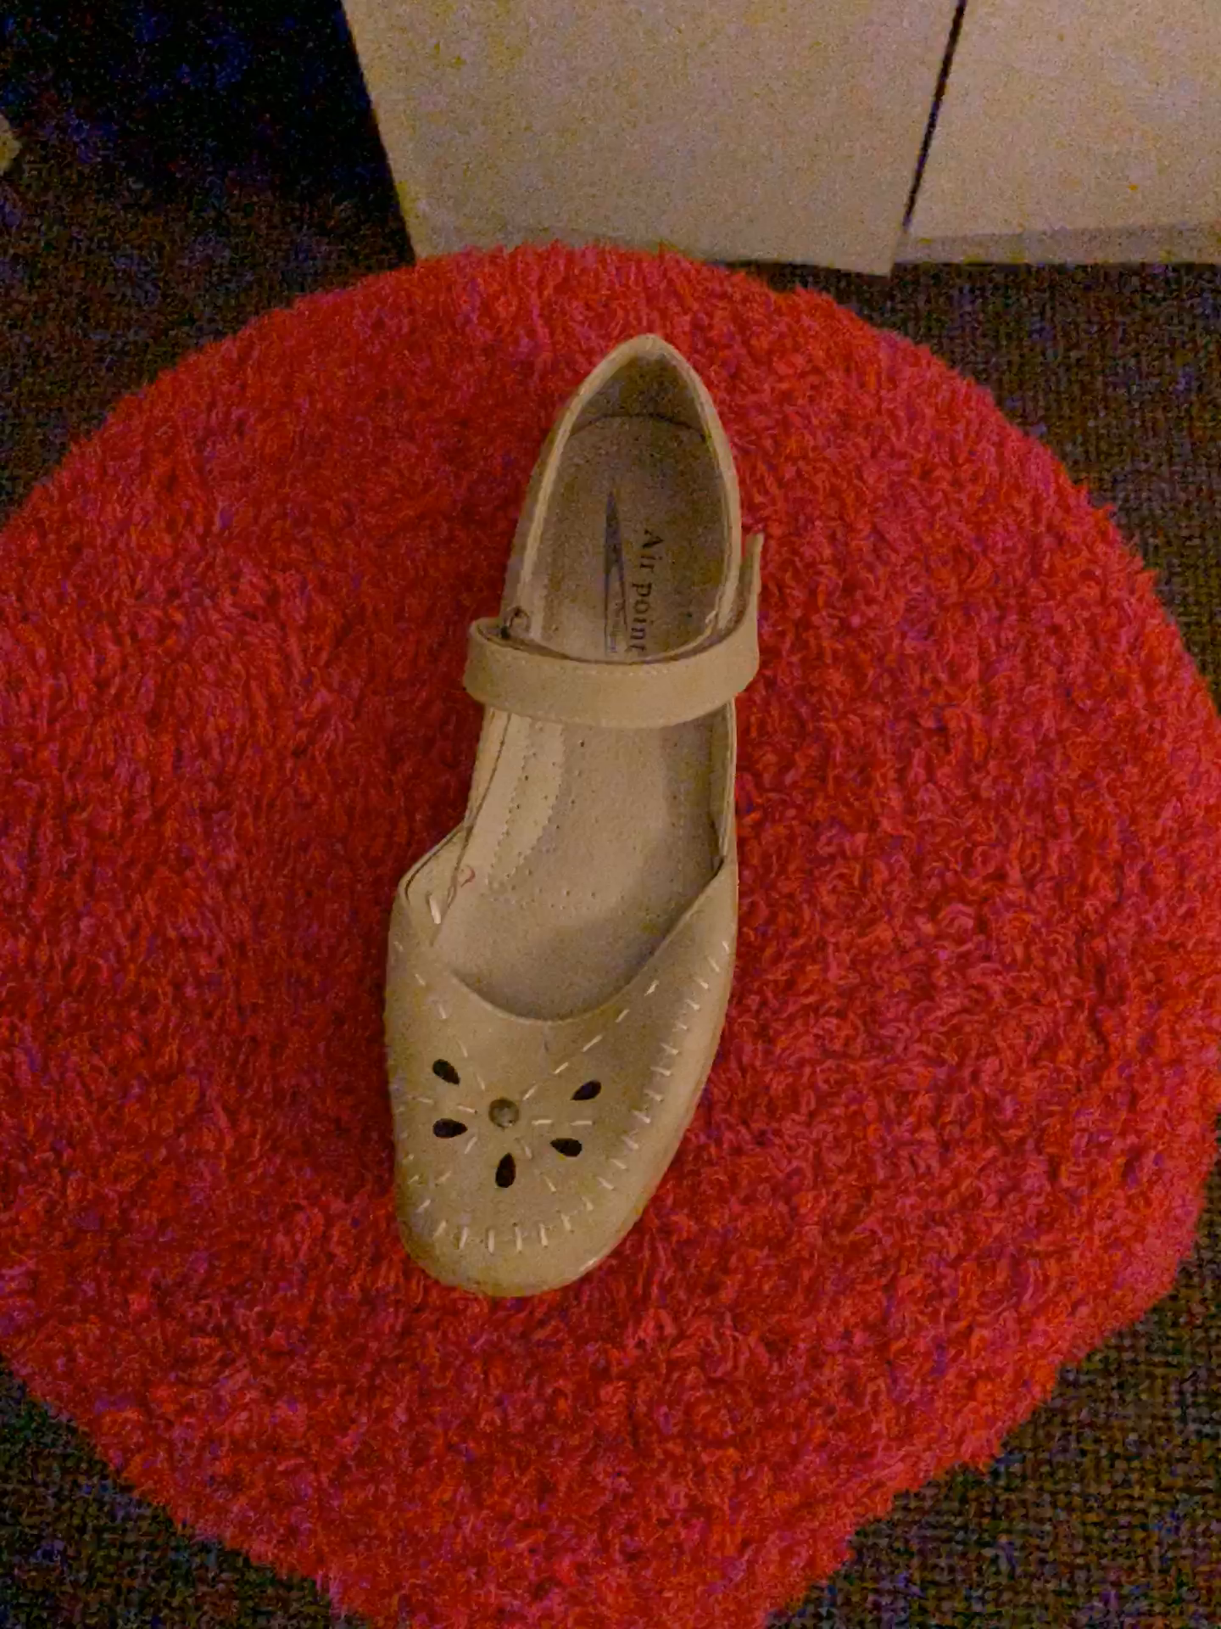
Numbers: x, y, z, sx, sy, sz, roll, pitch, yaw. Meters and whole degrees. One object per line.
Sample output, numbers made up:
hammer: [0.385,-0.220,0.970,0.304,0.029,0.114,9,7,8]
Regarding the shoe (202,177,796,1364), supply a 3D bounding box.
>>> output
shoe: [-0.017,-0.022,0.356,0.095,0.080,0.306,8,74,5]
